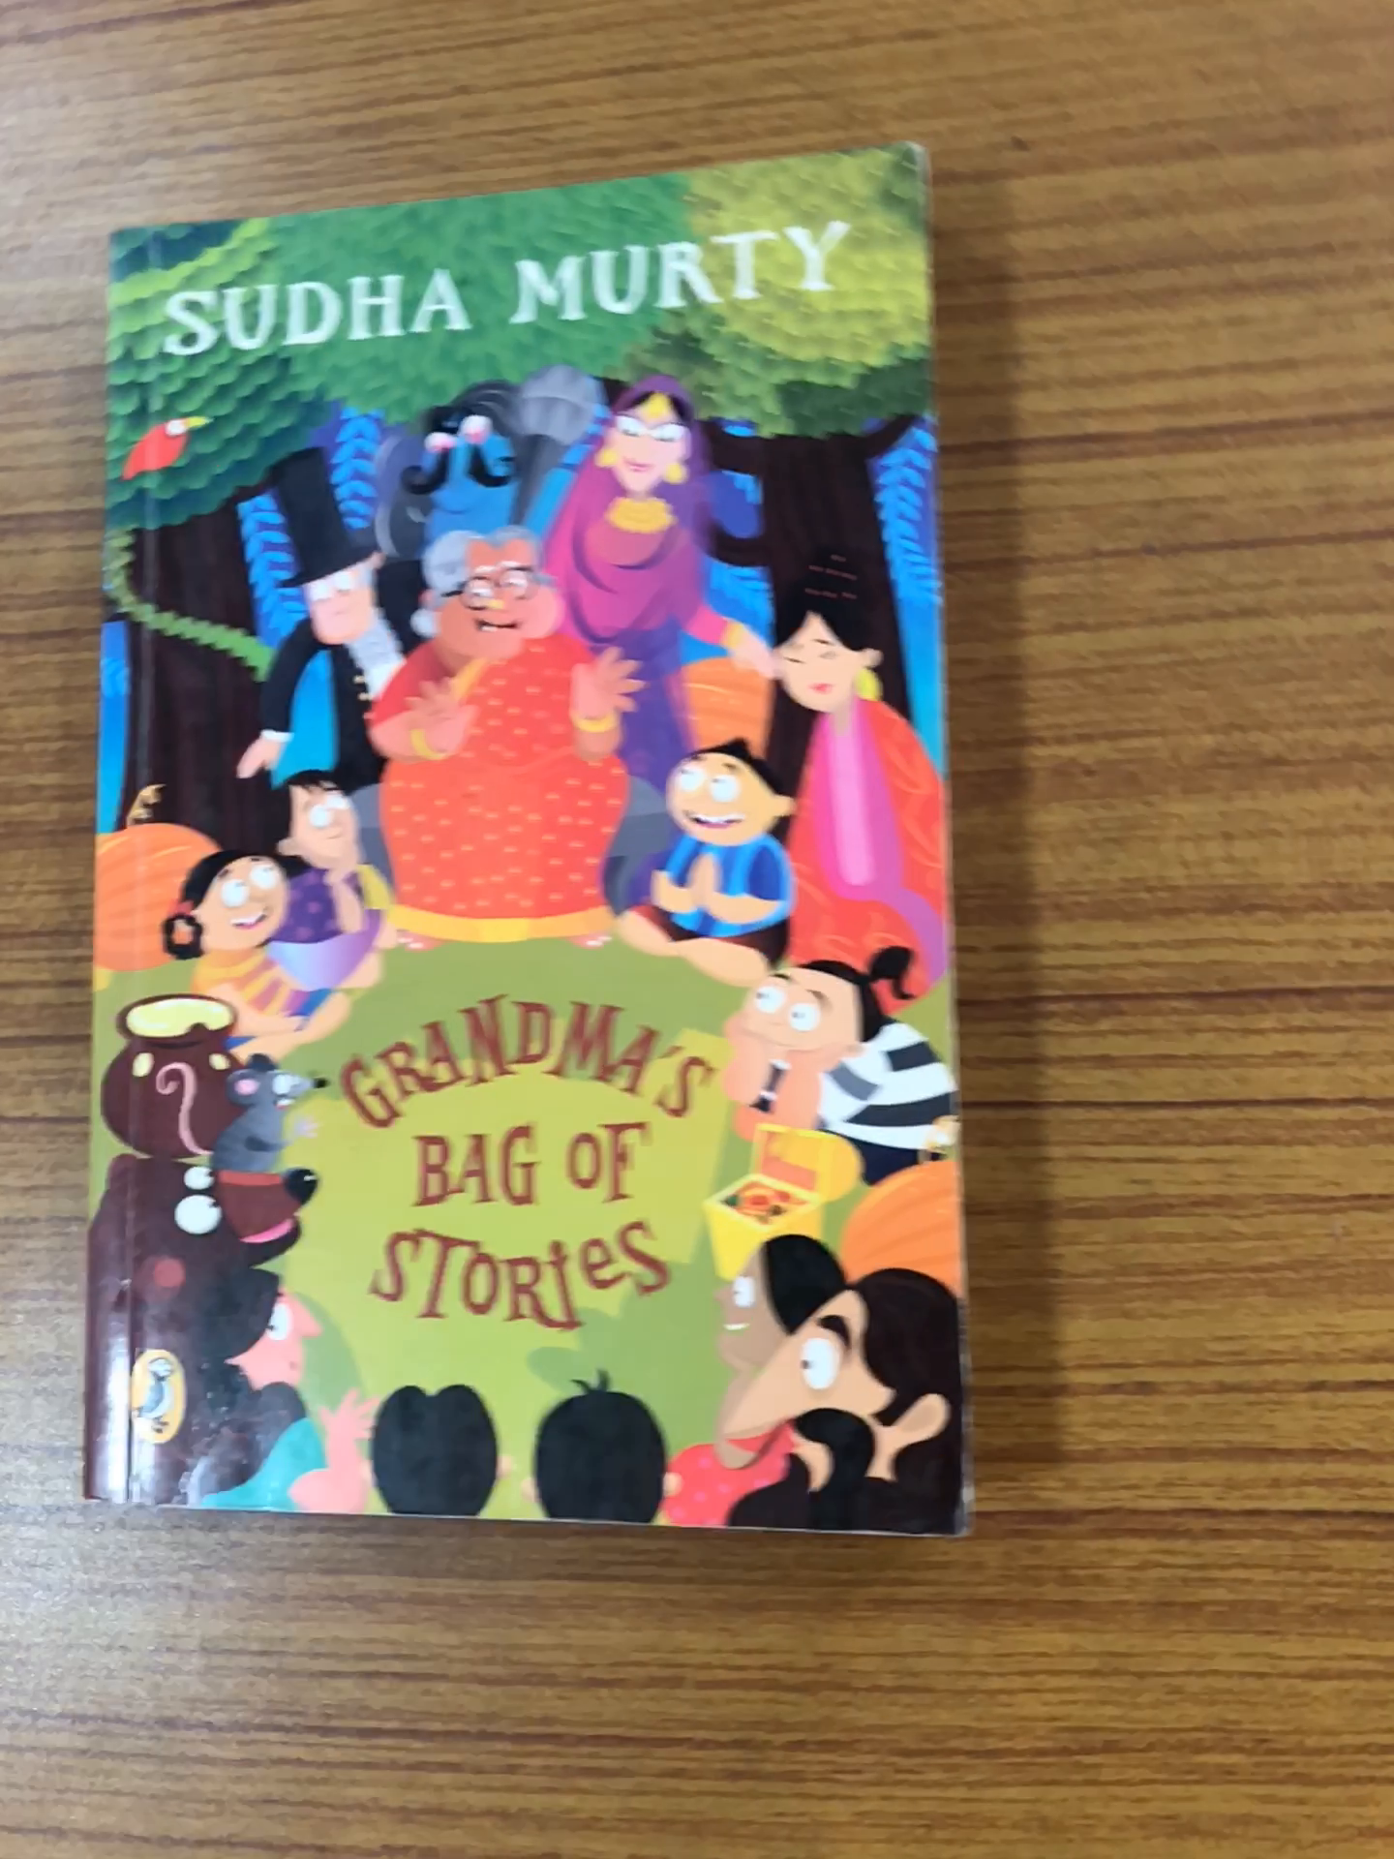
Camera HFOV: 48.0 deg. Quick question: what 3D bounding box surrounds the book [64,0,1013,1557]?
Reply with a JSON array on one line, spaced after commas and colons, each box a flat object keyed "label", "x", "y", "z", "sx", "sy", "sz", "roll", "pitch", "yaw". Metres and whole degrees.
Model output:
[{"label": "book", "x": -0.024, "y": -0.022, "z": 0.233, "sx": 0.130, "sy": 0.030, "sz": 0.210, "roll": -2, "pitch": 84, "yaw": 10}]
